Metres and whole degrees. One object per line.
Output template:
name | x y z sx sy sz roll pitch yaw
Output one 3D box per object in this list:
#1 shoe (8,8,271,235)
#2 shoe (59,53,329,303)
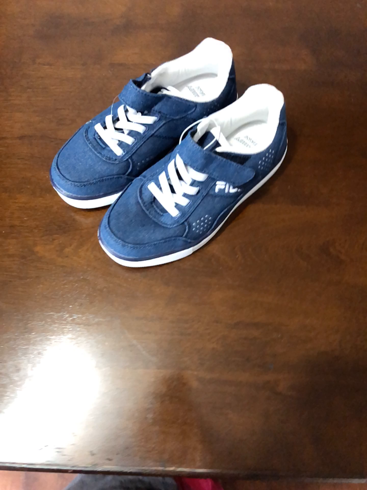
shoe | -0.037 -0.127 0.421 0.240 0.080 0.090 -36 75 -12
shoe | 0.014 -0.067 0.406 0.240 0.080 0.100 -41 76 -13
